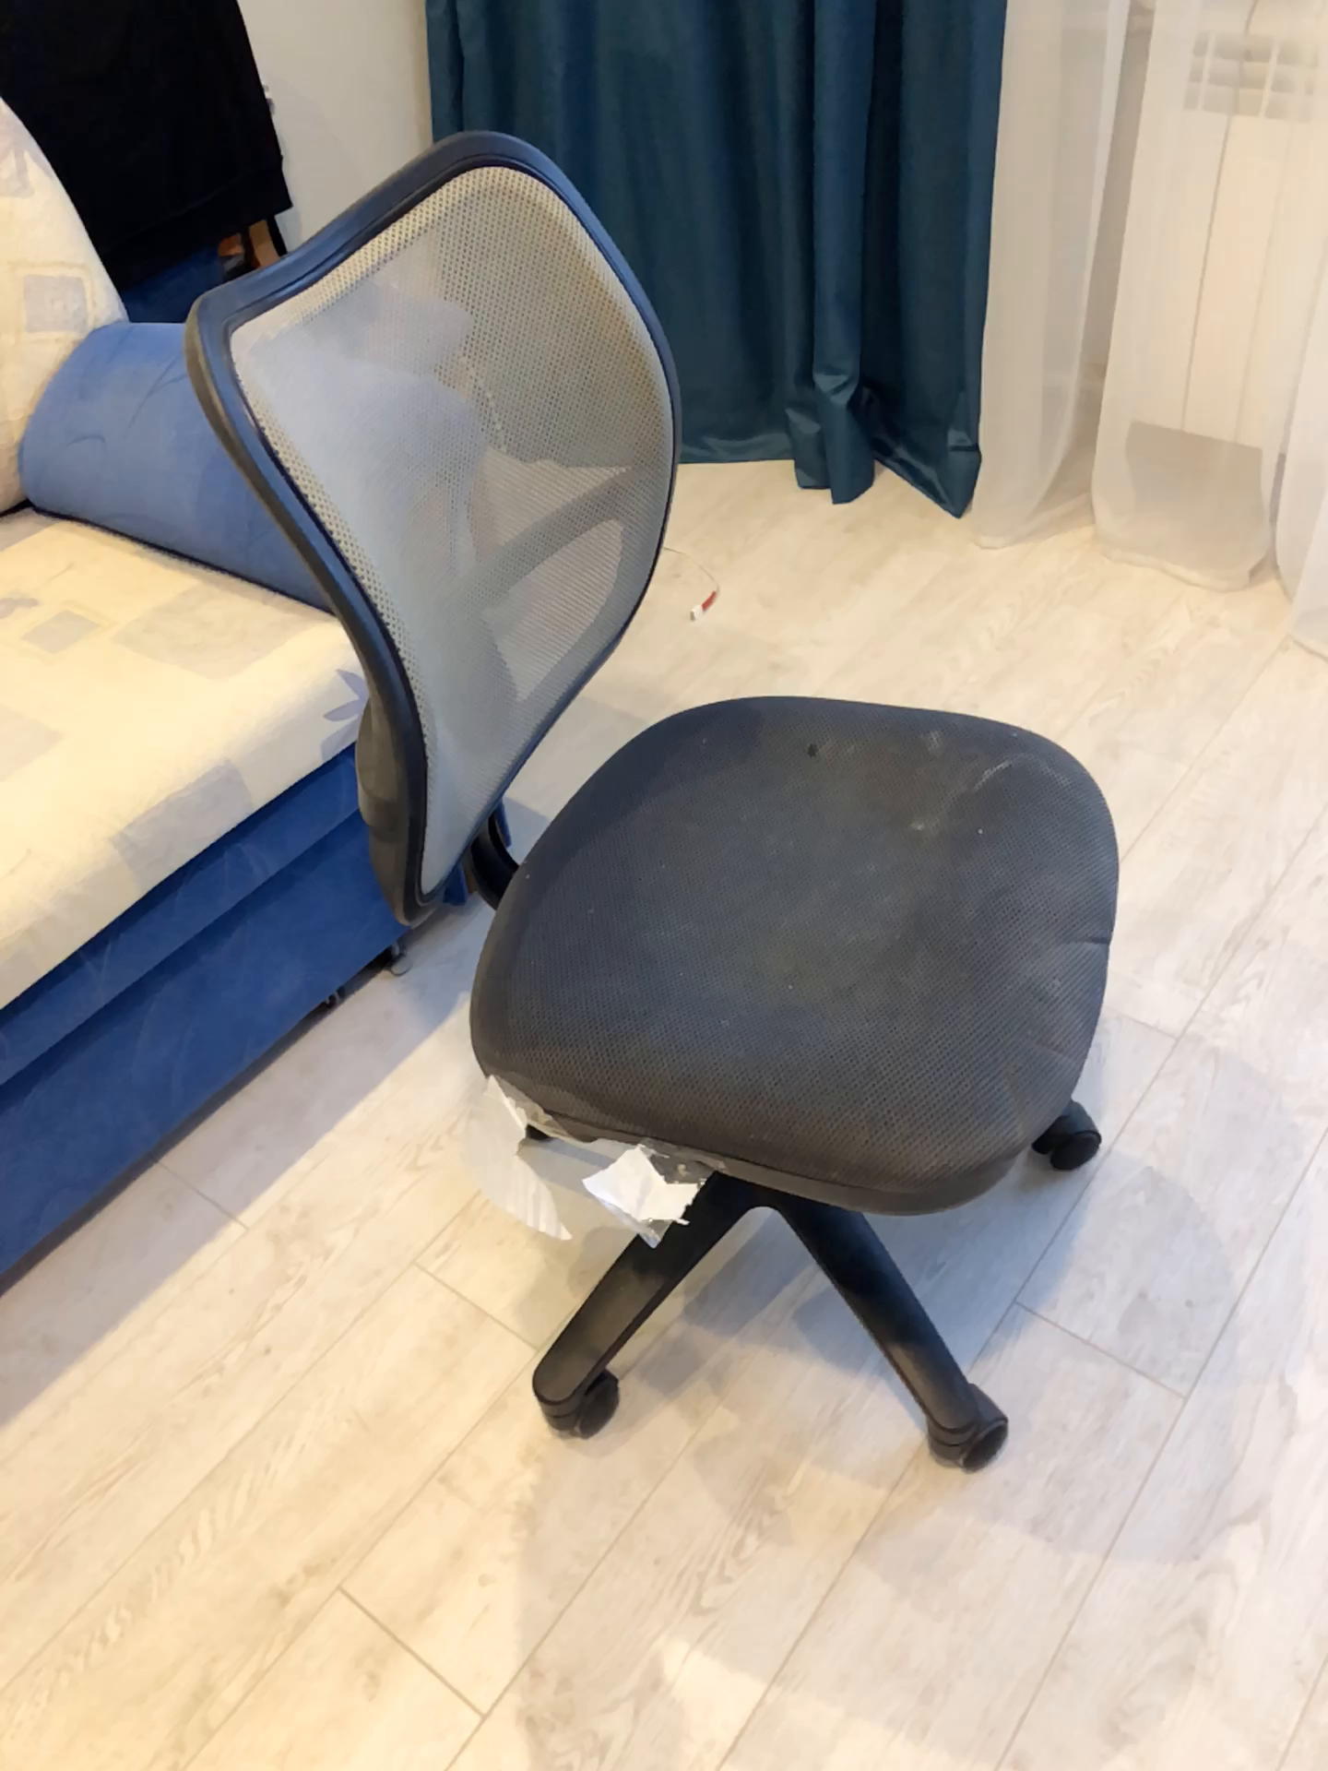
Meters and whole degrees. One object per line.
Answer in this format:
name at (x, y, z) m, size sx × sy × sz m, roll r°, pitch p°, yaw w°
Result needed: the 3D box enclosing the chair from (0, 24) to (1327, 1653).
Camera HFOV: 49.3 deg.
chair at (0.082, -0.061, 0.957) m, size 0.510 × 0.735 × 0.664 m, roll 14°, pitch 47°, yaw 21°
